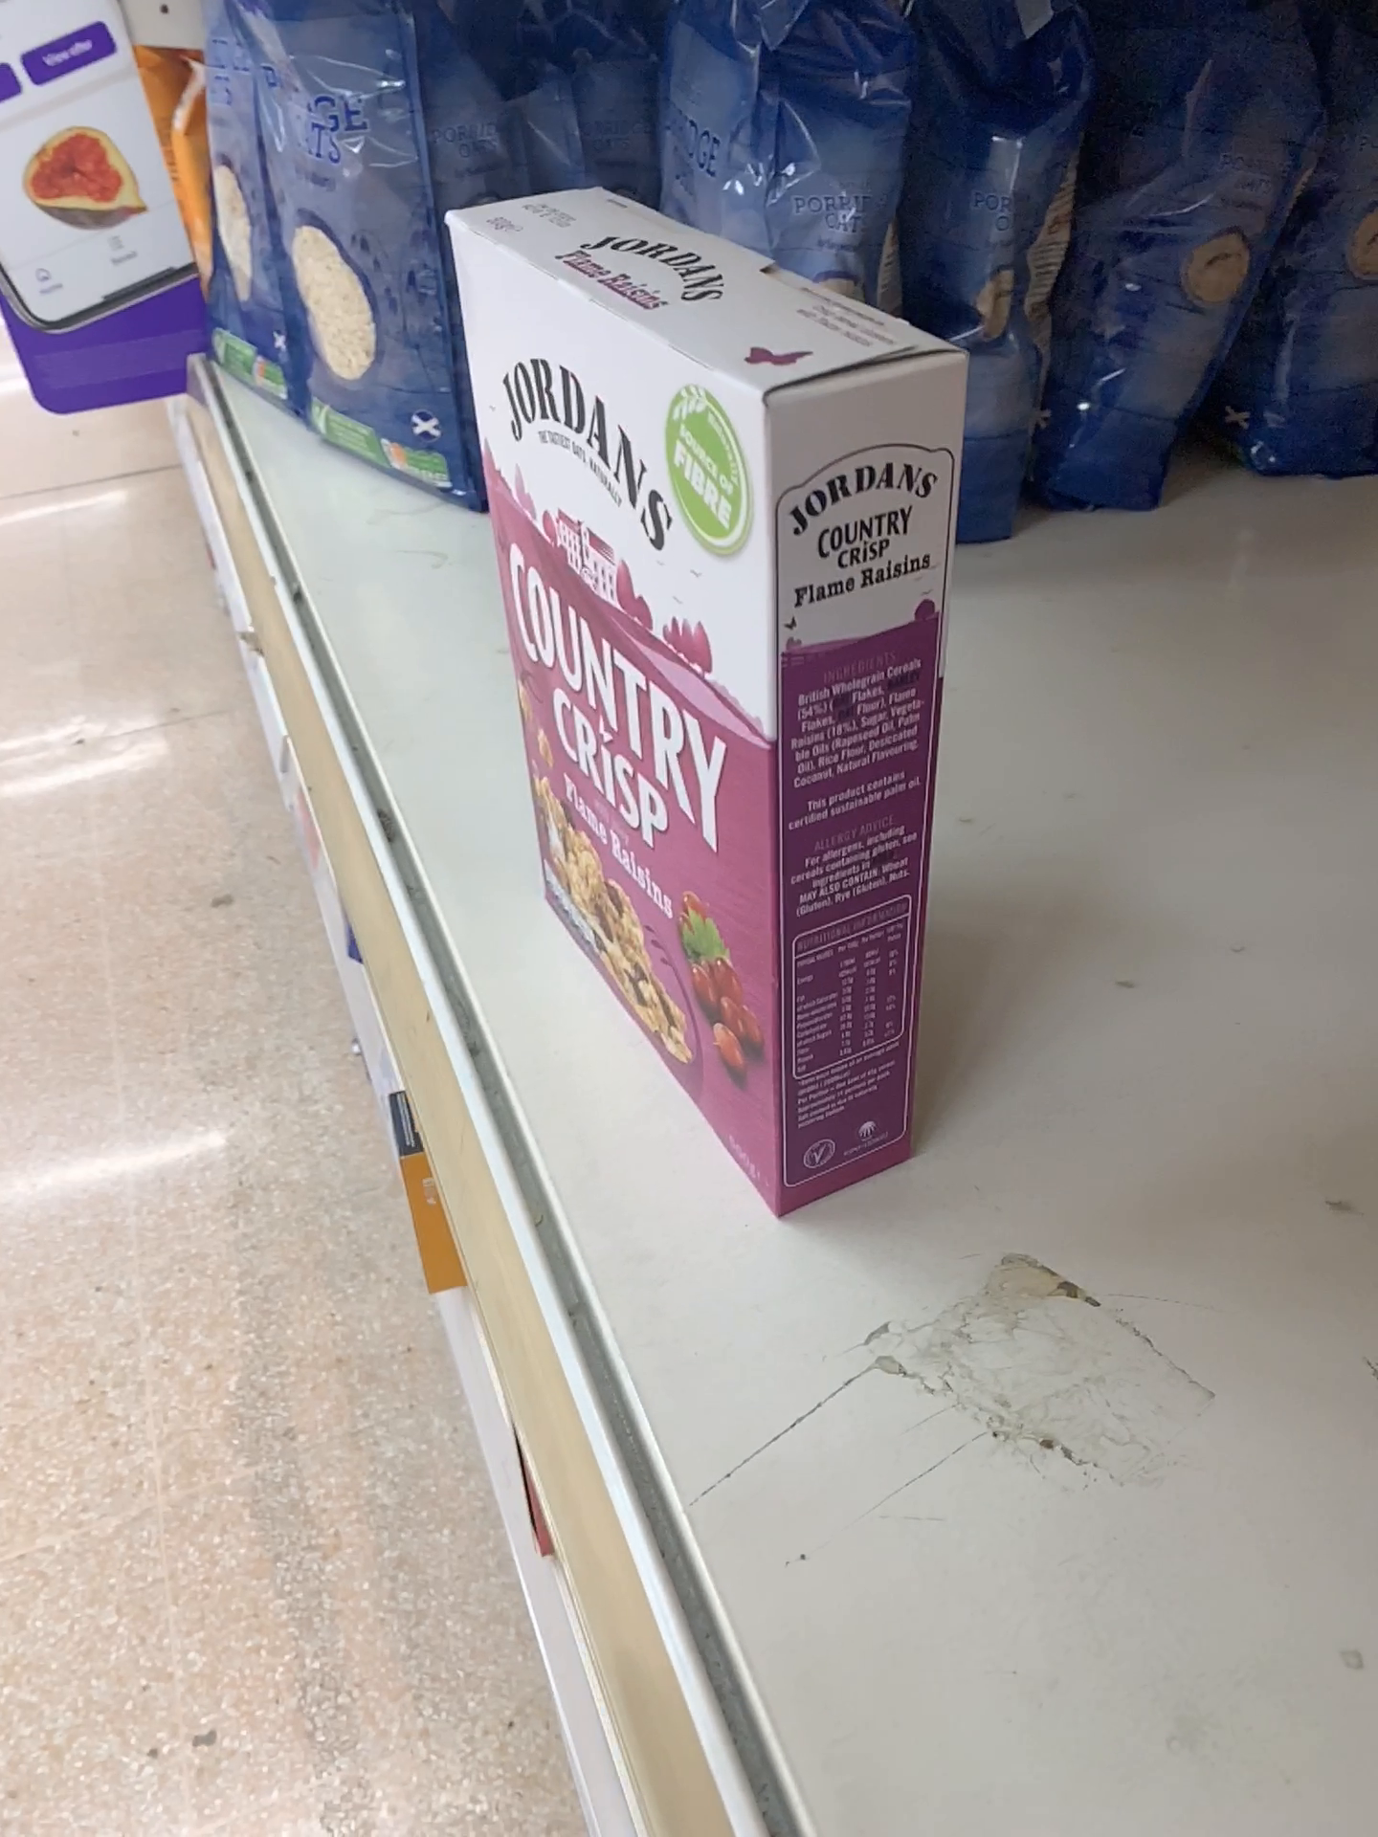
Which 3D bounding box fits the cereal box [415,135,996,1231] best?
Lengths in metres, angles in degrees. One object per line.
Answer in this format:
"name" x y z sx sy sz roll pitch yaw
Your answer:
"cereal box" -0.004 -0.066 0.405 0.050 0.247 0.192 -20 42 -20
